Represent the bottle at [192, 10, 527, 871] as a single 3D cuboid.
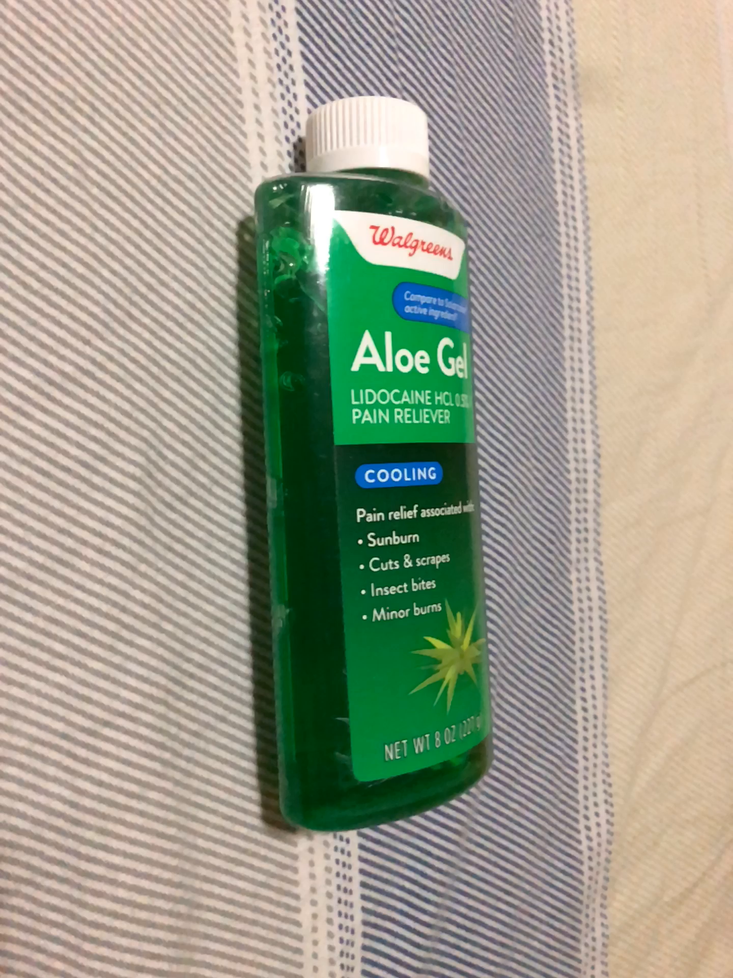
[{"bbox_3d":[0.002,-0.011,0.212,0.080,0.030,0.180,-3,91,-47],"label":"bottle"}]
